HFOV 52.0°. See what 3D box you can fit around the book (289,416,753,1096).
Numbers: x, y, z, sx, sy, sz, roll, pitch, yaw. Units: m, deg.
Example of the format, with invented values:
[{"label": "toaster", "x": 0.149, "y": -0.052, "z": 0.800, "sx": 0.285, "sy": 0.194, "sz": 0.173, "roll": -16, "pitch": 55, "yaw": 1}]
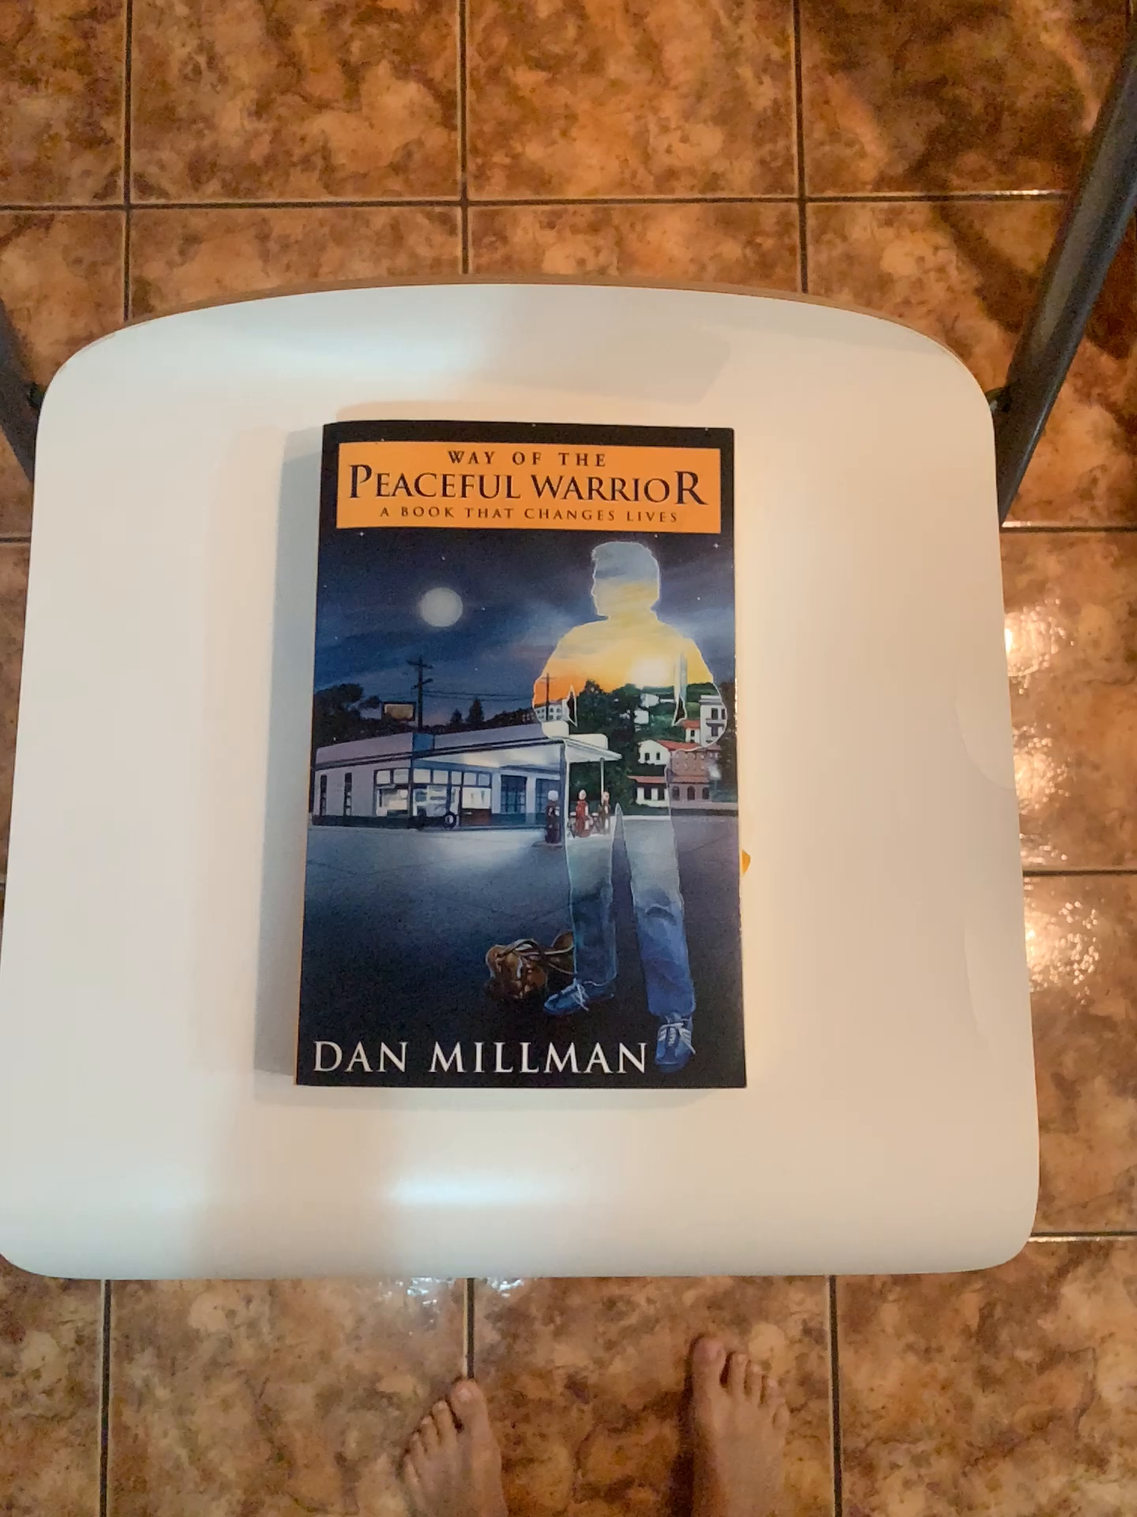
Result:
[{"label": "book", "x": -0.013, "y": -0.002, "z": 0.383, "sx": 0.141, "sy": 0.039, "sz": 0.210, "roll": 1, "pitch": 86, "yaw": 1}]
